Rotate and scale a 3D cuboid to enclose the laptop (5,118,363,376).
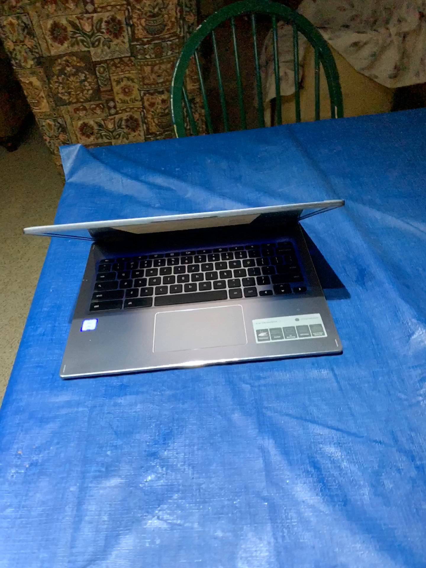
[{"bbox_3d":[-0.024,-0.055,0.509,0.303,0.150,0.251,-5,42,1],"label":"laptop"}]
